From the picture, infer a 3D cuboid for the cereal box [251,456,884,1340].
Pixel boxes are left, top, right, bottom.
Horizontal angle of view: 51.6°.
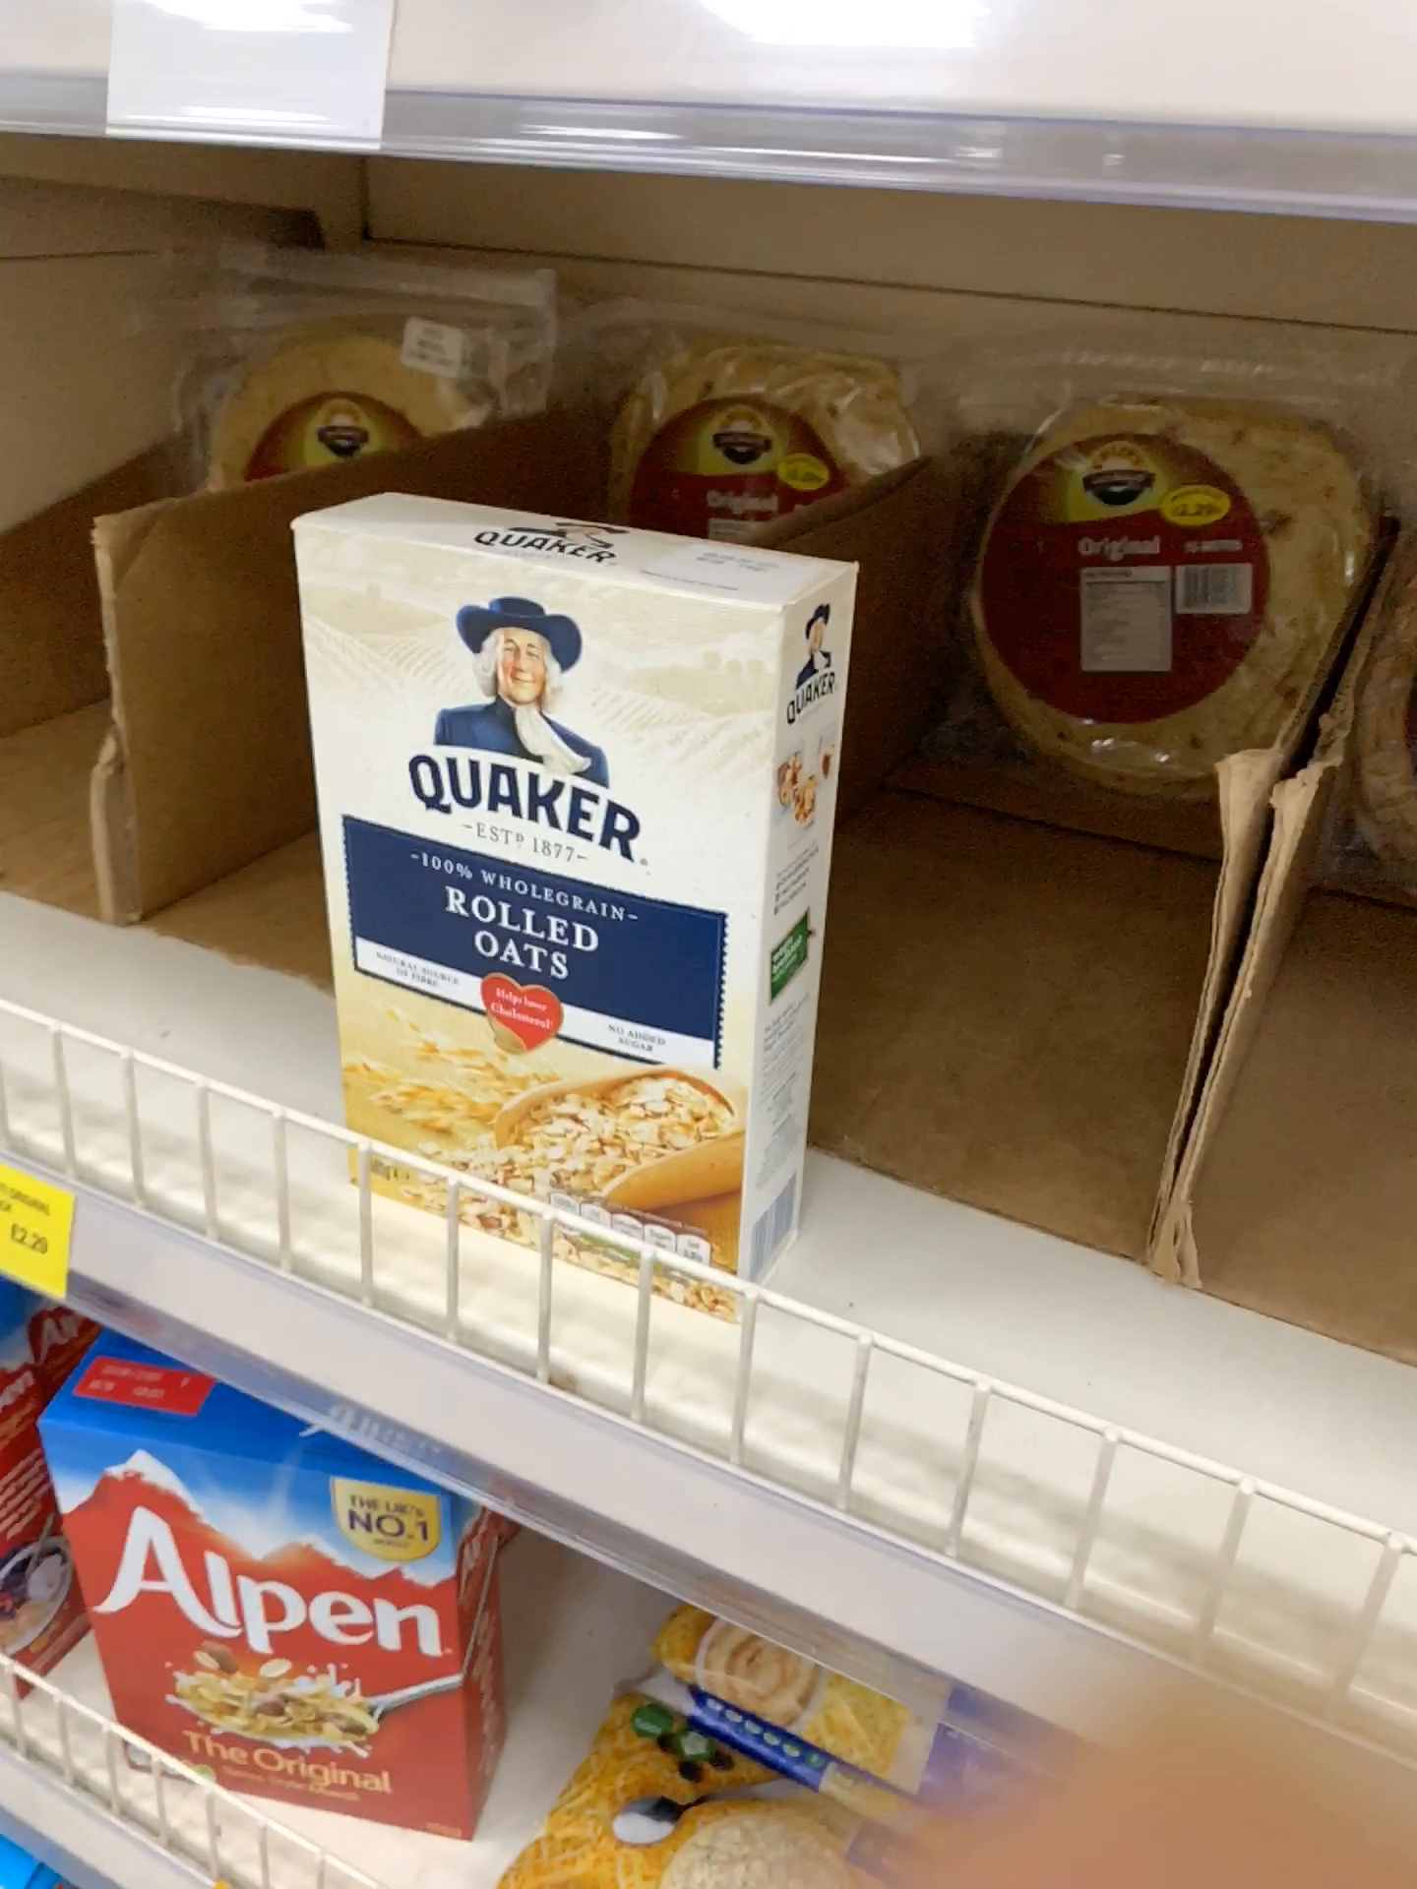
[{"bbox_3d":[-0.041,-0.014,0.421,0.150,0.218,0.060,15,30,22],"label":"cereal box"}]
